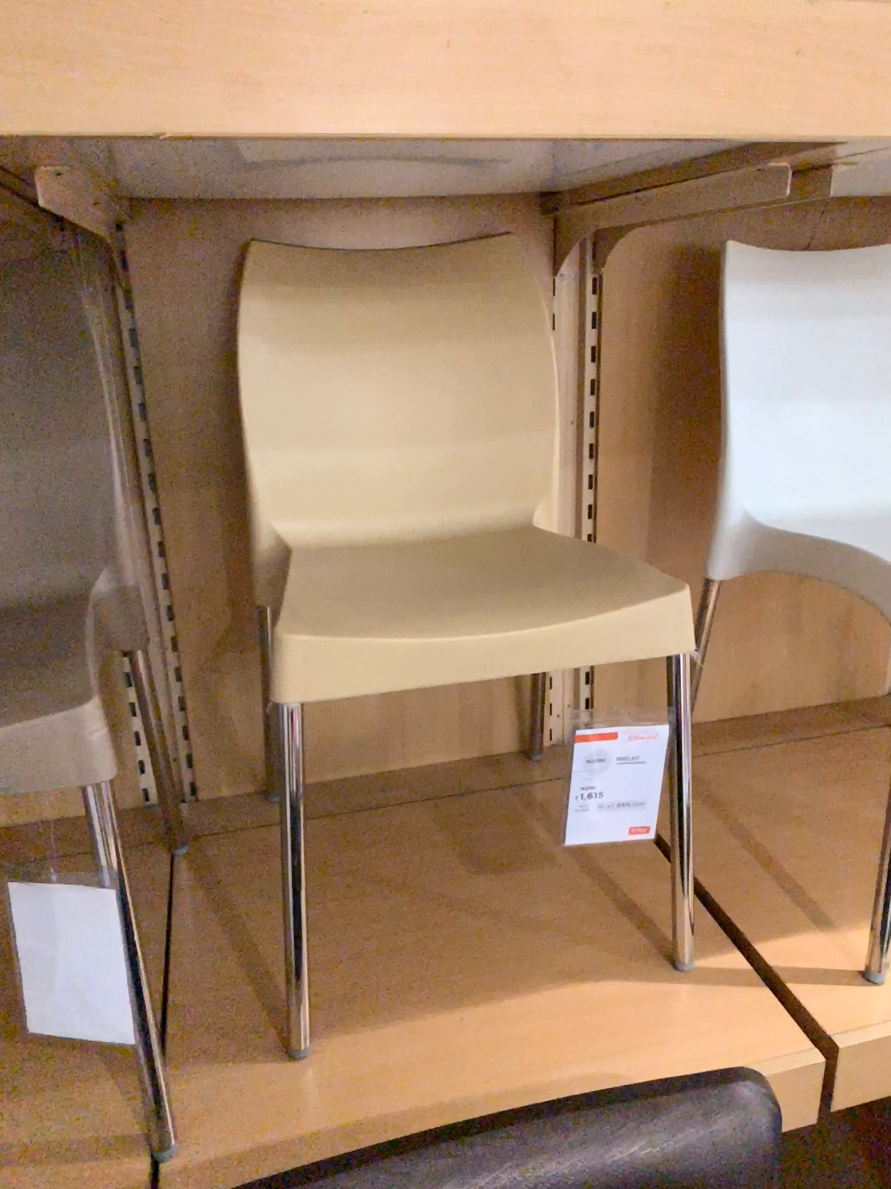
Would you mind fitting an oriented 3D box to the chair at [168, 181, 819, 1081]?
[{"bbox_3d":[-0.023,-0.020,1.111,0.540,0.807,0.592,-5,19,-16],"label":"chair"}]
